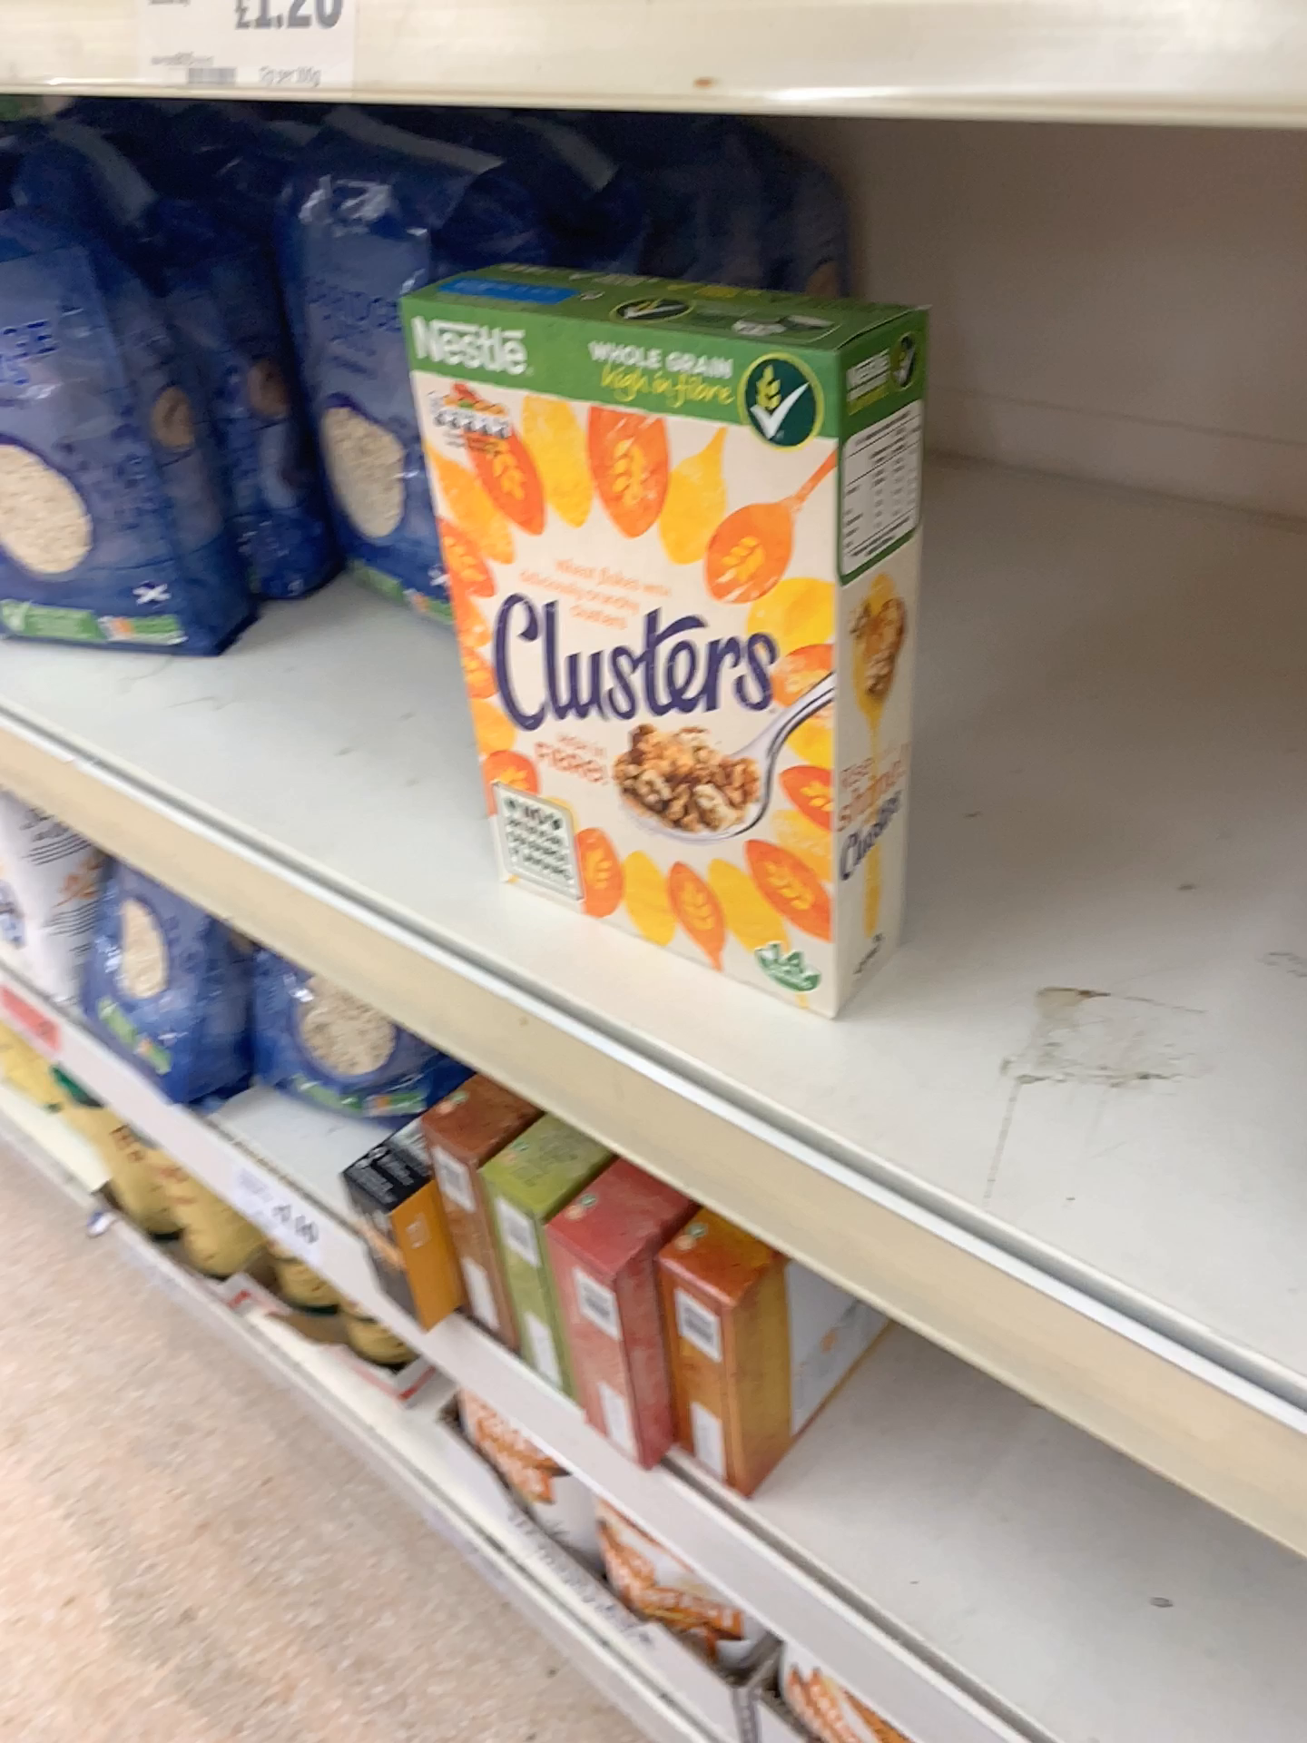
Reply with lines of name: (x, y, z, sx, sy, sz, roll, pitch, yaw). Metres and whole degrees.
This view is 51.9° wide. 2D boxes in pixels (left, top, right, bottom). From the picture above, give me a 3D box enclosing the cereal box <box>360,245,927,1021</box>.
cereal box: (-0.001, -0.094, 0.540, 0.201, 0.267, 0.060, 21, 43, 31)
